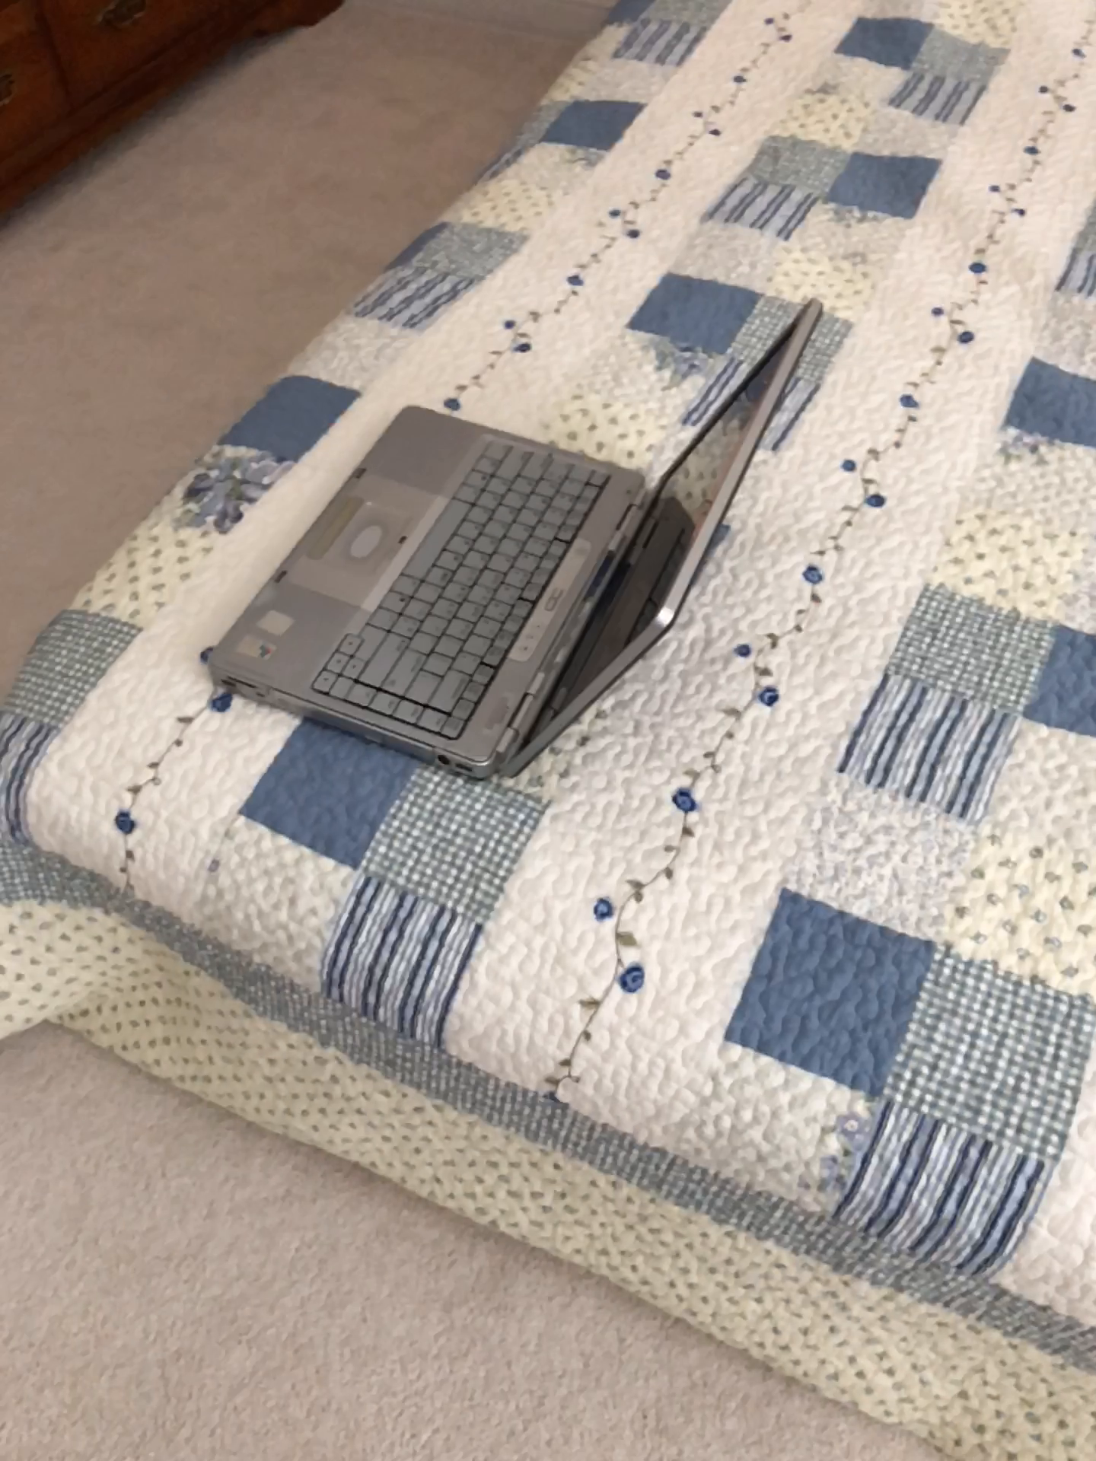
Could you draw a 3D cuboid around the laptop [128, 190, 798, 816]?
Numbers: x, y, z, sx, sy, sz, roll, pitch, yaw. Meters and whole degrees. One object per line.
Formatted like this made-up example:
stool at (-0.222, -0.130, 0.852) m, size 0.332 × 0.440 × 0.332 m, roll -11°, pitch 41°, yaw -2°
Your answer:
laptop at (-0.038, -0.174, 0.859) m, size 0.326 × 0.193 × 0.323 m, roll 19°, pitch 55°, yaw 12°
